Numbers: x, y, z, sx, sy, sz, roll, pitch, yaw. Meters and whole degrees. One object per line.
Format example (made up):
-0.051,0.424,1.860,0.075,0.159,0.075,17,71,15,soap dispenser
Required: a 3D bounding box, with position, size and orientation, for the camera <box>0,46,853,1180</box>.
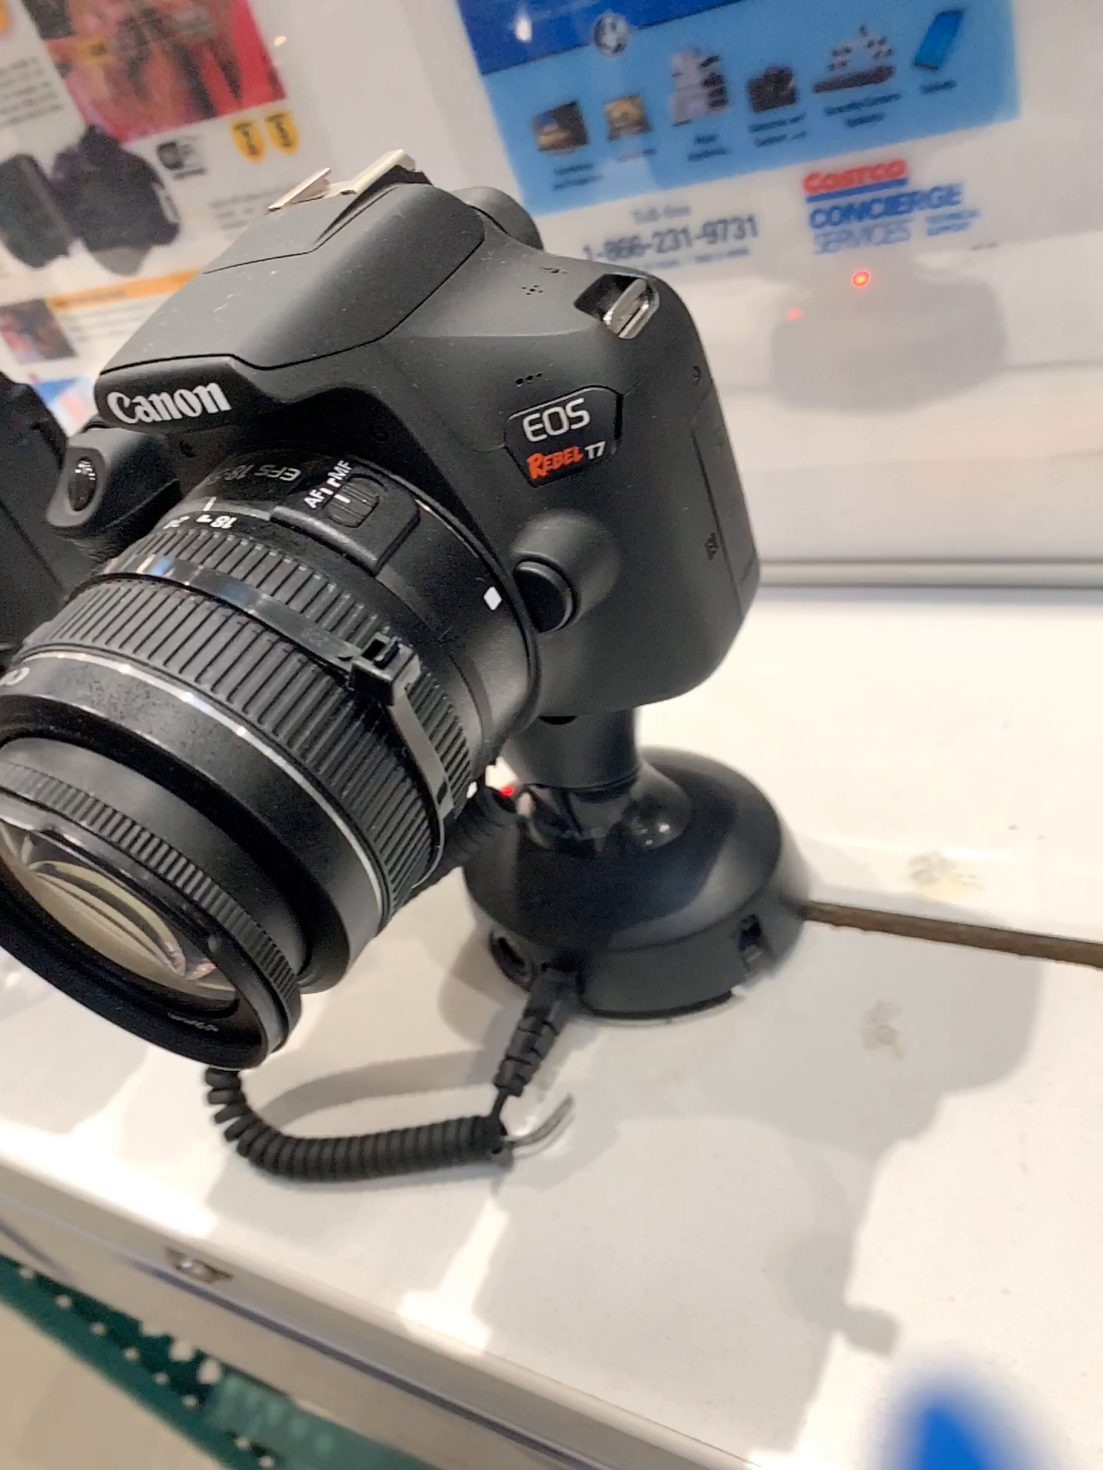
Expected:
-0.038,-0.030,0.194,0.130,0.089,0.141,5,45,31,camera
